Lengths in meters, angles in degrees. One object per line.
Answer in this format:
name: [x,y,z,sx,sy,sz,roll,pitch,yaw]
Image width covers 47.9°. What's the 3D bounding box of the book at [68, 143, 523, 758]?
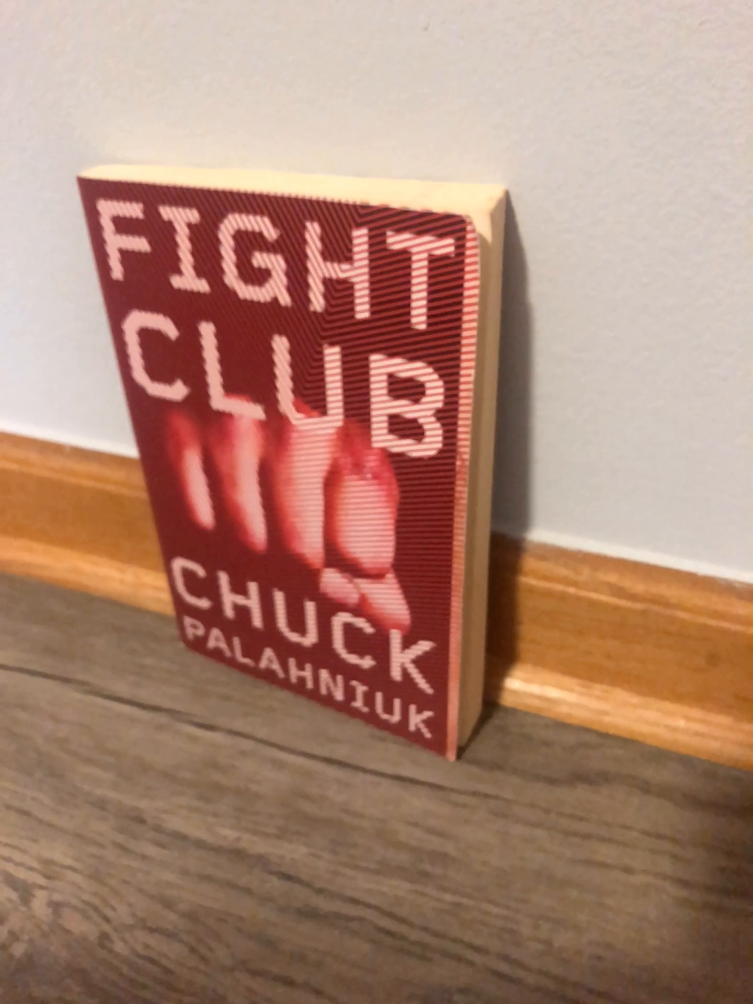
book: [-0.025,-0.010,0.309,0.138,0.210,0.030,15,39,23]
